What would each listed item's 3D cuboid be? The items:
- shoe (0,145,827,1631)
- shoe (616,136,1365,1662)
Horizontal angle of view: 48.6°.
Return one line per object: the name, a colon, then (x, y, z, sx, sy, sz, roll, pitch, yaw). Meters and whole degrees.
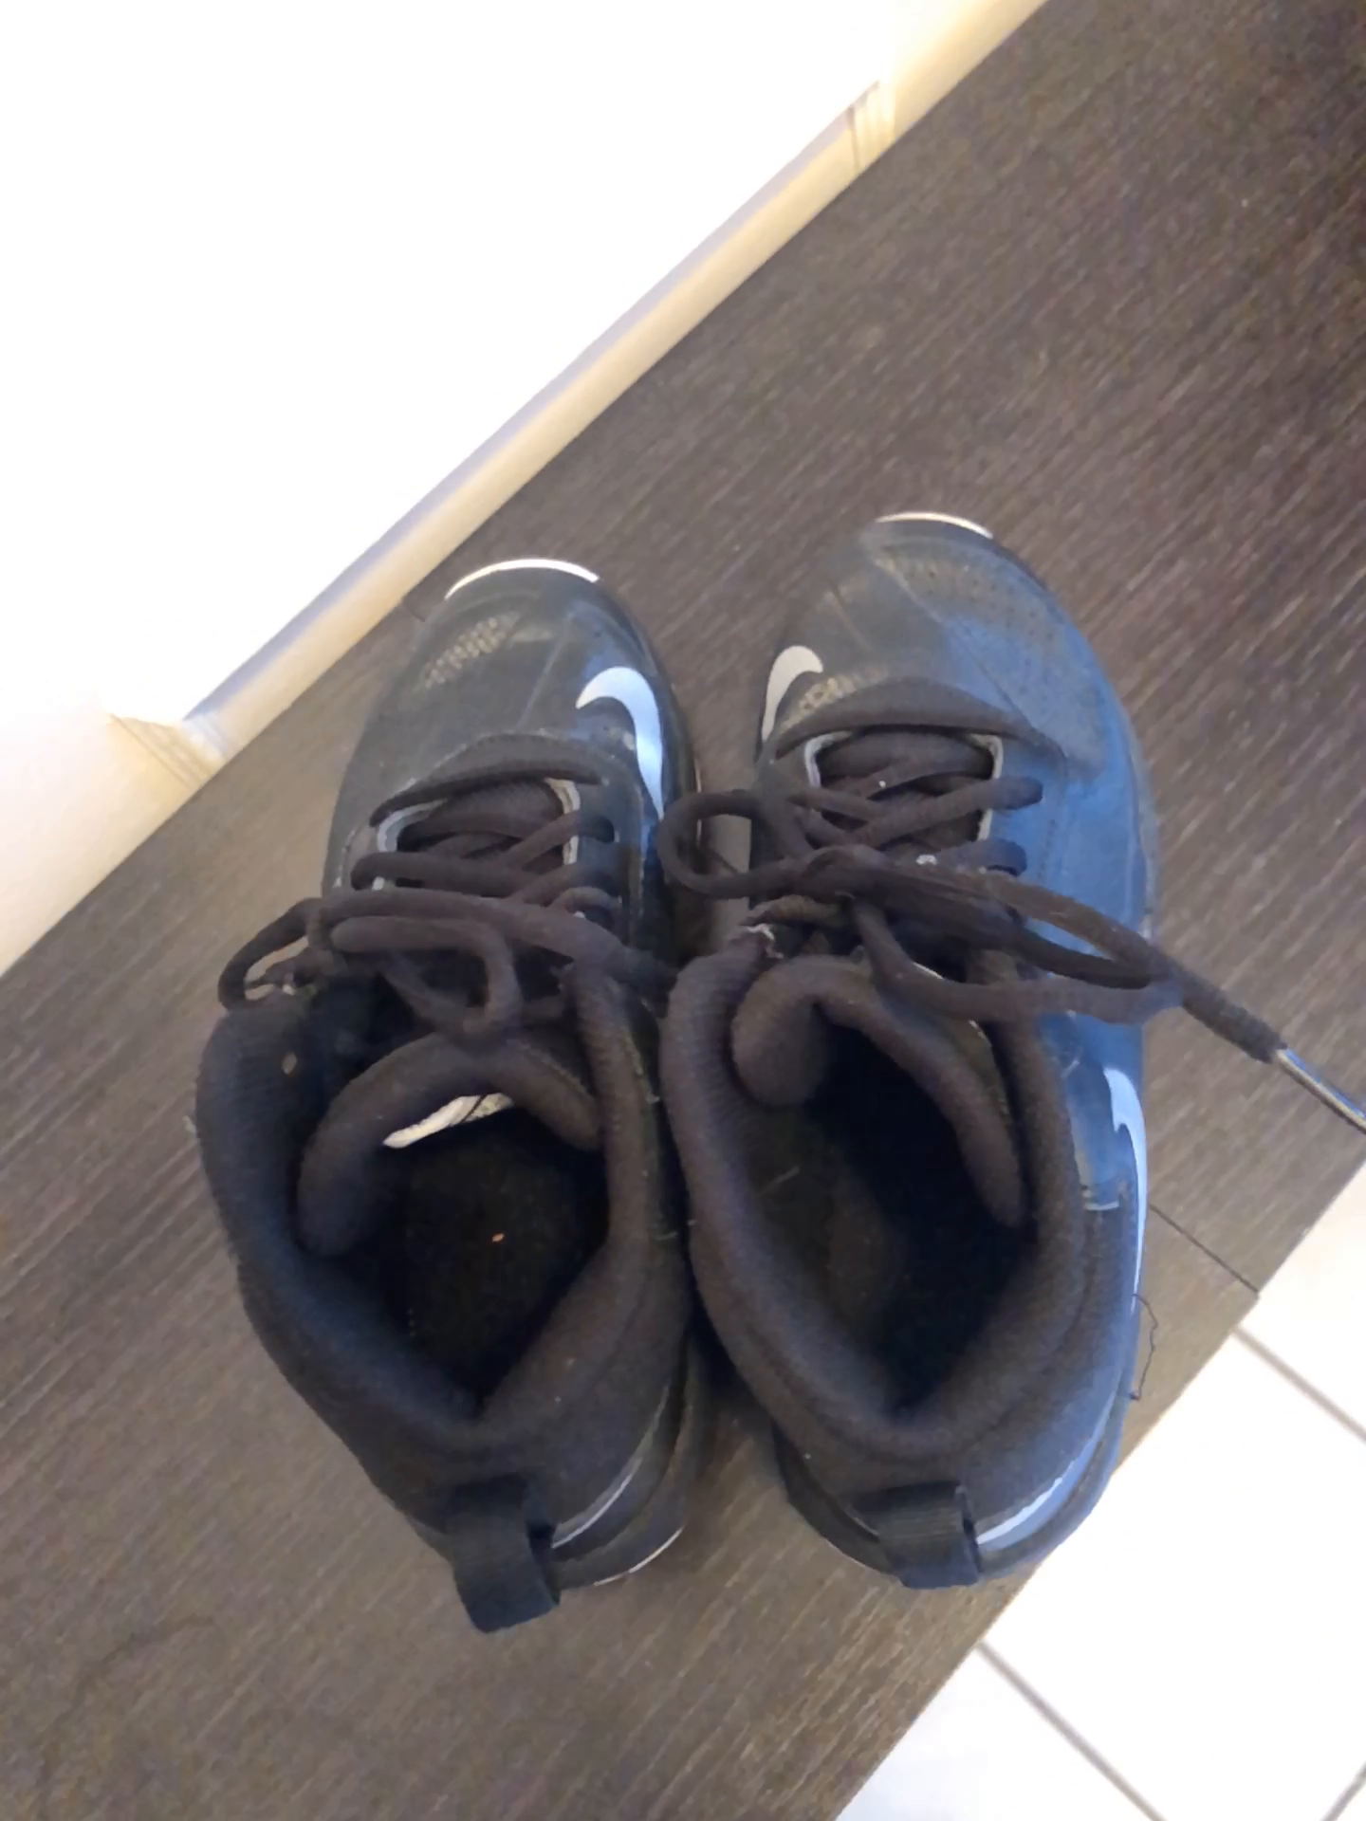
shoe: (-0.042, -0.001, 0.311, 0.100, 0.130, 0.261, -8, 65, 8)
shoe: (0.056, 0.001, 0.294, 0.100, 0.130, 0.251, -3, 66, 11)
